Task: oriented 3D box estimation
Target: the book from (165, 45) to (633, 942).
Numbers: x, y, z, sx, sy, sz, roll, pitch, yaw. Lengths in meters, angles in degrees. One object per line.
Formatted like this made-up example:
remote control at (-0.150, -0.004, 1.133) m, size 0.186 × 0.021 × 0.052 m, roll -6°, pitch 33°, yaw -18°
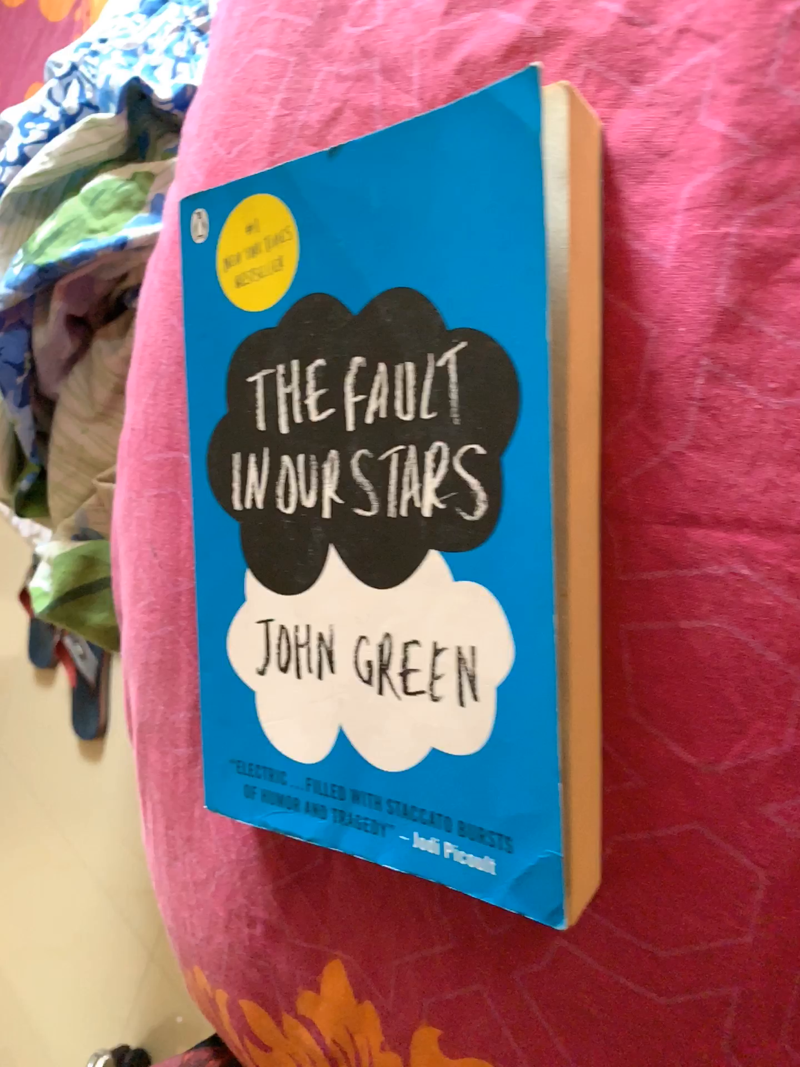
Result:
book at (-0.008, -0.008, 0.217) m, size 0.130 × 0.030 × 0.179 m, roll 0°, pitch 90°, yaw 37°
